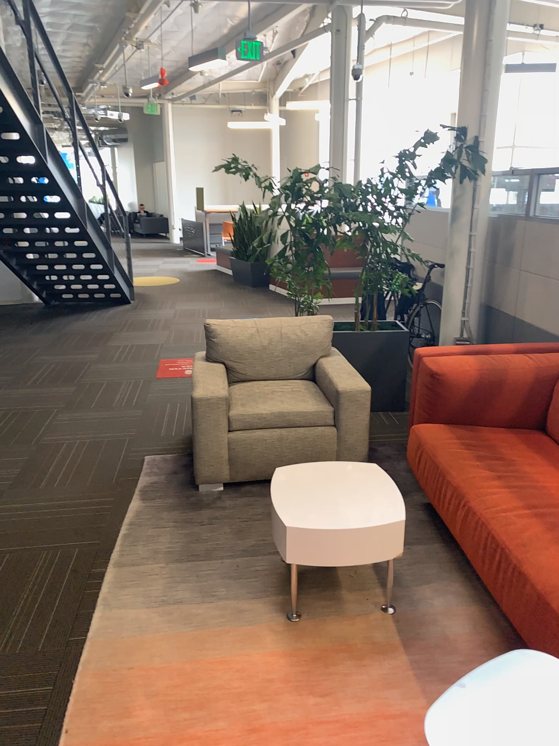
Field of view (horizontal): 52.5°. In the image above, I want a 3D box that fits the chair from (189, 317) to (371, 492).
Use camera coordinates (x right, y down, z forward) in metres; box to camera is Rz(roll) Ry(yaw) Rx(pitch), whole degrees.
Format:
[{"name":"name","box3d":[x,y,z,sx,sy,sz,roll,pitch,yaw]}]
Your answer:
[{"name":"chair","box3d":[-0.045,0.130,3.360,0.920,0.727,0.874,-2,18,-7]}]
